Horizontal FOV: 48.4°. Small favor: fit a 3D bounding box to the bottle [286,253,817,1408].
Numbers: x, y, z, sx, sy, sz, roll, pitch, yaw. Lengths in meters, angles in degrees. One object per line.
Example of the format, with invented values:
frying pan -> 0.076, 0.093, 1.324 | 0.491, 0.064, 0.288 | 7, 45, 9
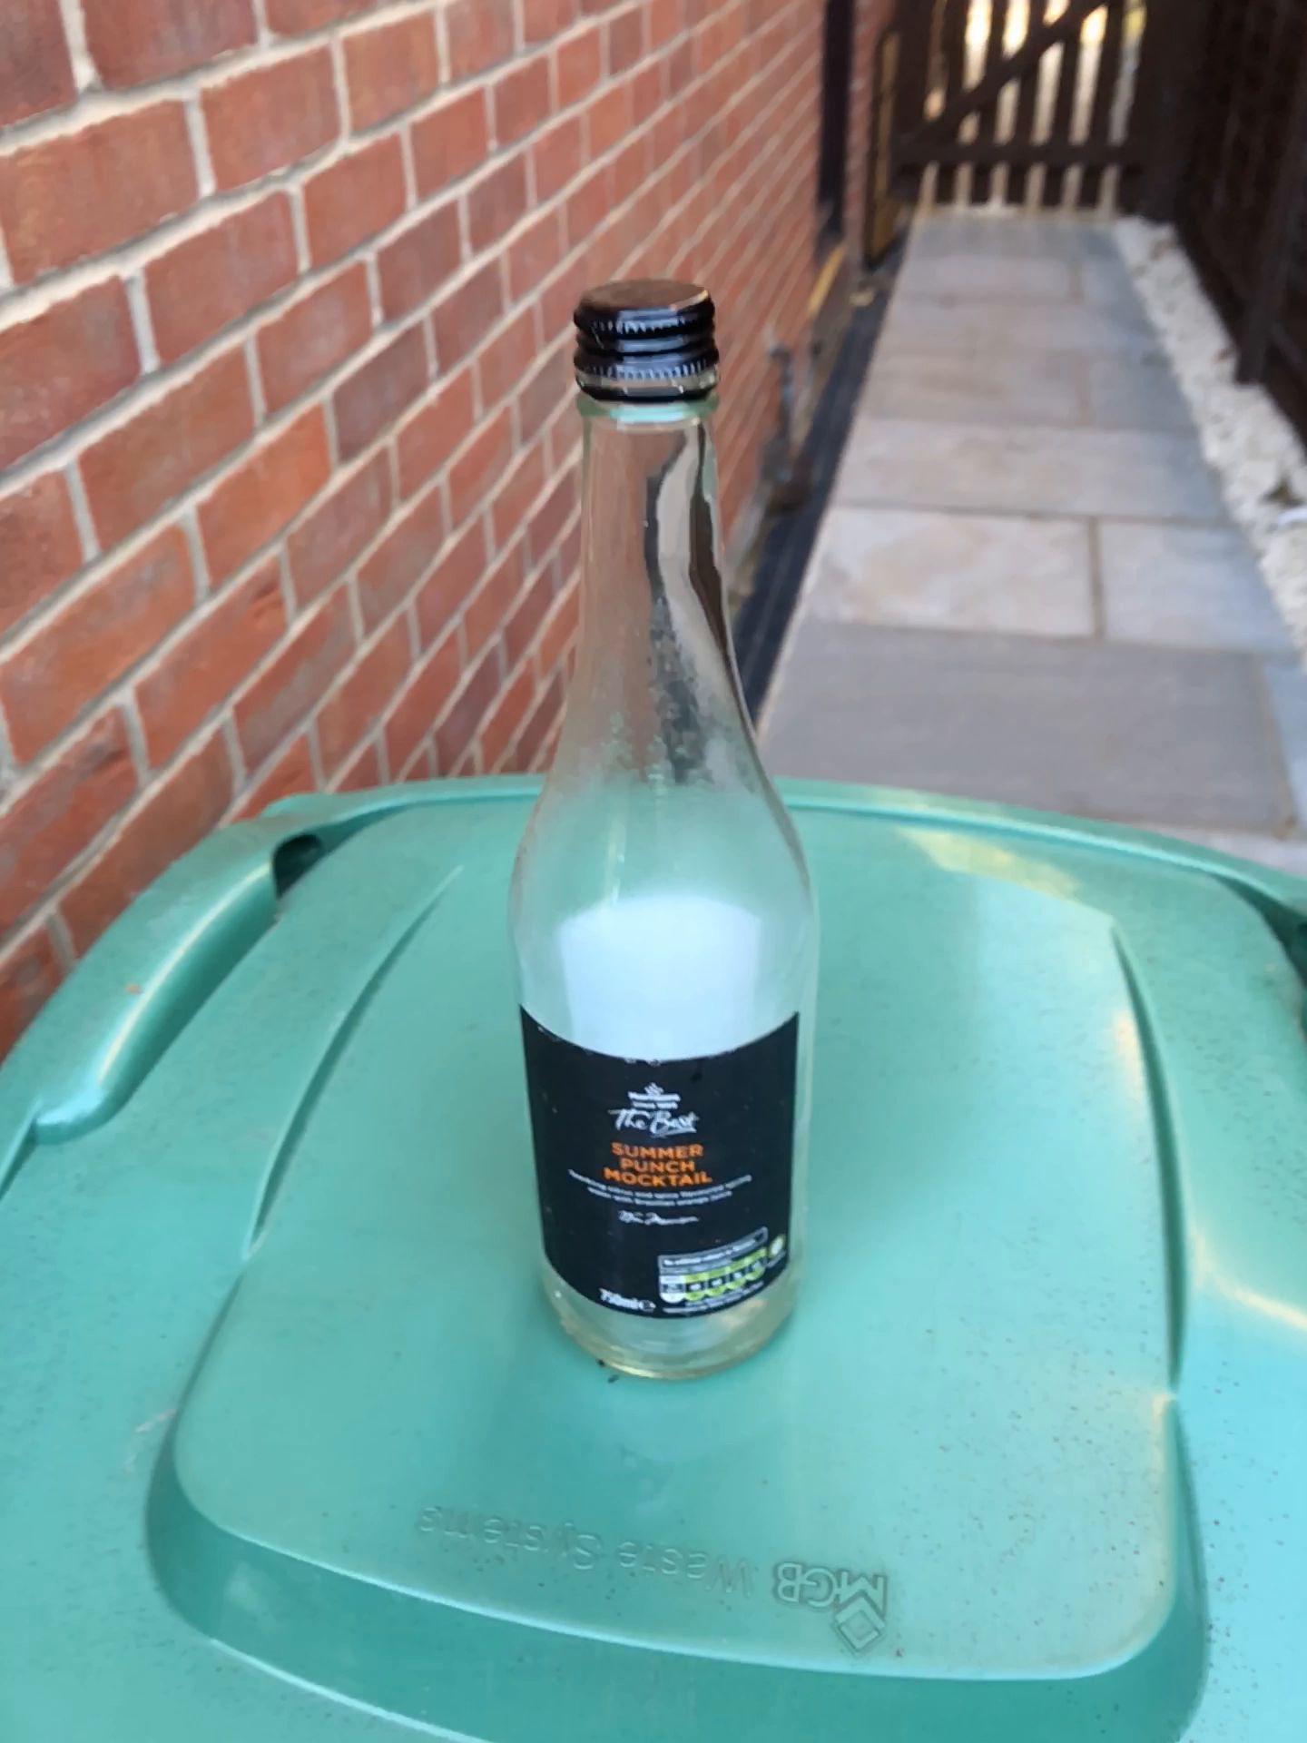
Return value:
bottle -> -0.011, 0.009, 0.361 | 0.090, 0.288, 0.081 | 1, 36, 4
